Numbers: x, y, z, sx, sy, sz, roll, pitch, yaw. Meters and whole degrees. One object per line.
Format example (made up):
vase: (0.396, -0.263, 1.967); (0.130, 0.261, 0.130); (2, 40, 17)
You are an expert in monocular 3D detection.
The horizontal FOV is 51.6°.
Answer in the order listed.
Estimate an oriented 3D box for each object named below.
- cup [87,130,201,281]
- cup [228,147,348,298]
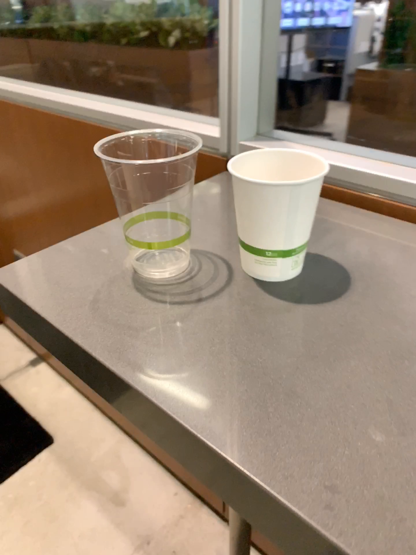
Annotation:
cup: (-0.053, -0.072, 0.423); (0.090, 0.119, 0.091); (-1, 33, 0)
cup: (0.068, -0.055, 0.413); (0.080, 0.109, 0.091); (-5, 33, -7)
